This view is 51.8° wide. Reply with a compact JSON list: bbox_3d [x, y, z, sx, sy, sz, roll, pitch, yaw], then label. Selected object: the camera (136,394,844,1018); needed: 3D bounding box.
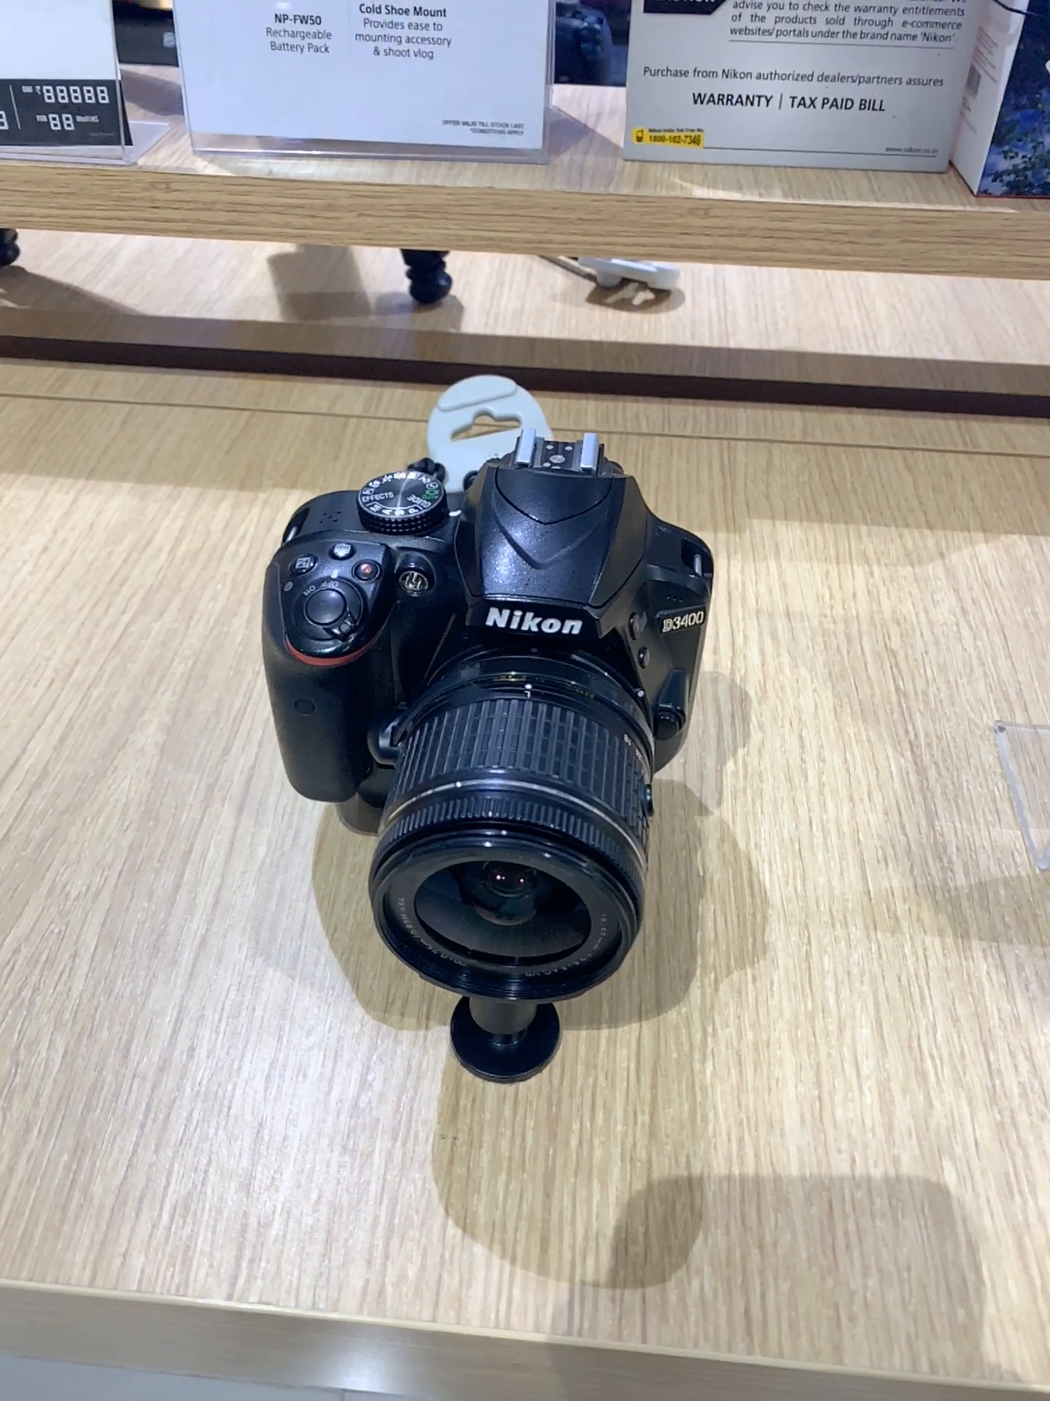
[{"bbox_3d":[-0.004,-0.002,0.228,0.110,0.073,0.100,5,44,1],"label":"camera"}]
